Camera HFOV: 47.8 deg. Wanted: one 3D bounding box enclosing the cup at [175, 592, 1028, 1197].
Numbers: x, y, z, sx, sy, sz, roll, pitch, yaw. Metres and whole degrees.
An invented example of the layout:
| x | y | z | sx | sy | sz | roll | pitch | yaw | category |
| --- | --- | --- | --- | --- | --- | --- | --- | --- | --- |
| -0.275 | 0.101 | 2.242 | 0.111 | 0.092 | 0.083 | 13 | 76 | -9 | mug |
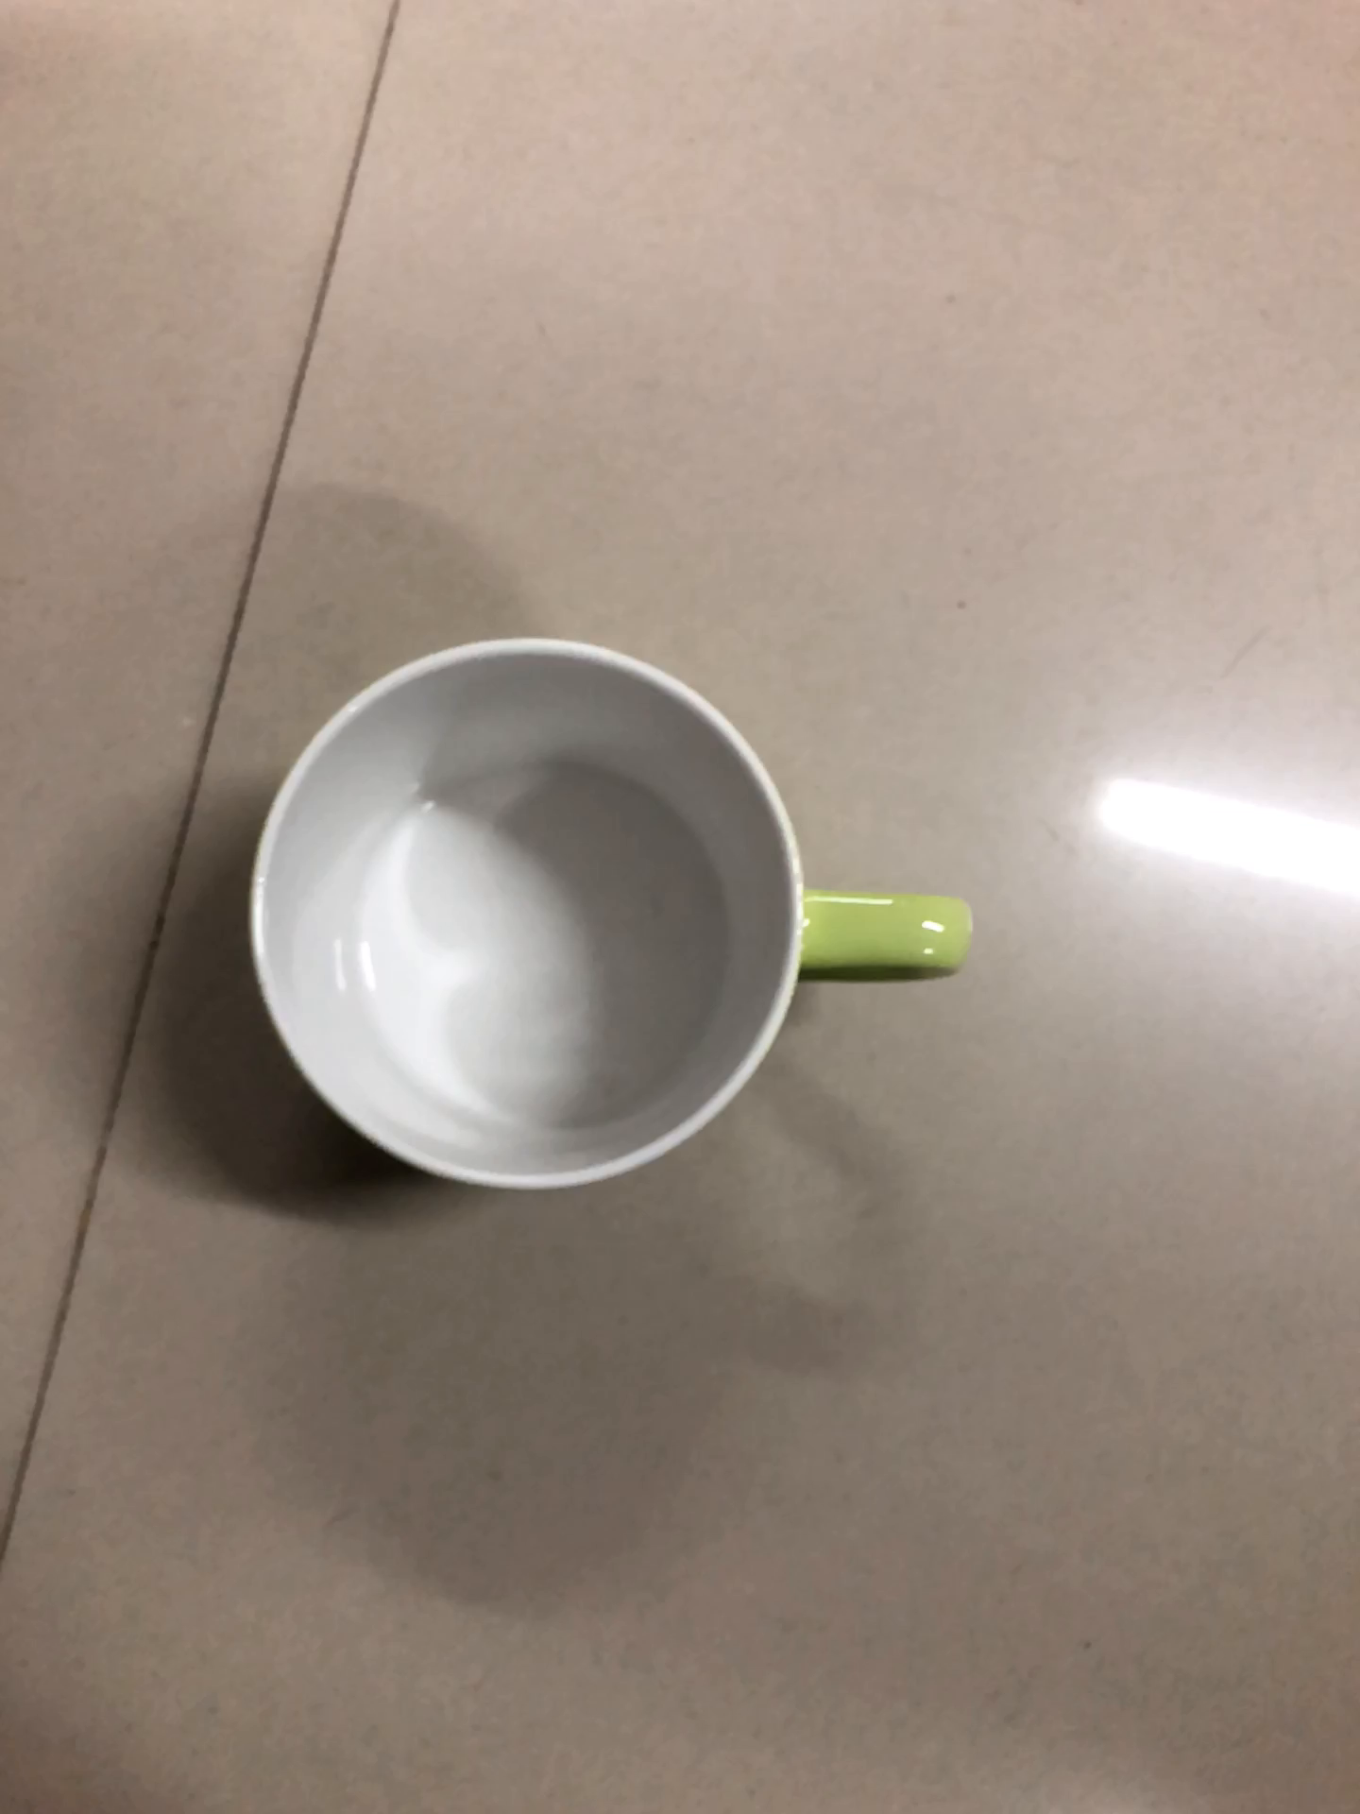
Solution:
| x | y | z | sx | sy | sz | roll | pitch | yaw | category |
| --- | --- | --- | --- | --- | --- | --- | --- | --- | --- |
| -0.010 | 0.002 | 0.223 | 0.100 | 0.080 | 0.070 | 2 | 84 | -3 | cup |
